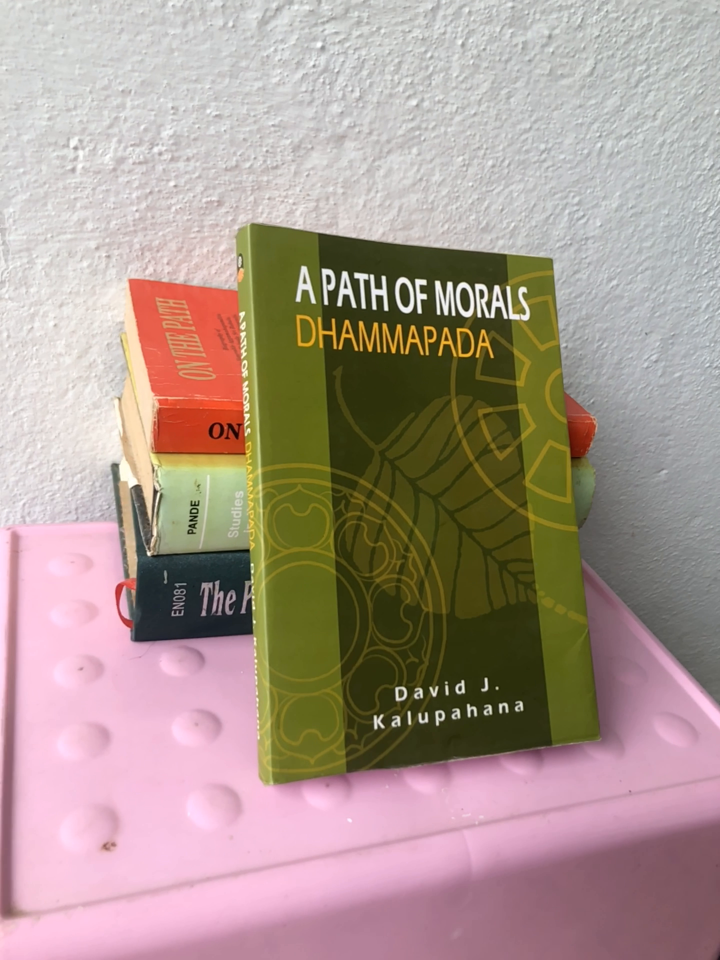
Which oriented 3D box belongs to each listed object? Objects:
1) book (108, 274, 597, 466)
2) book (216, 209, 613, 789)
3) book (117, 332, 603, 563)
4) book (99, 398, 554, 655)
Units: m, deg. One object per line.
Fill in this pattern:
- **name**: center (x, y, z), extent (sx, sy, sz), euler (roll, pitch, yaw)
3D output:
- **book**: center (-0.015, -0.061, 0.410), extent (0.210, 0.030, 0.160), euler (-2, 30, -21)
- **book**: center (0.021, 0.004, 0.333), extent (0.150, 0.210, 0.040), euler (1, -10, -22)
- **book**: center (-0.011, -0.026, 0.416), extent (0.210, 0.040, 0.160), euler (-1, 30, -21)
- **book**: center (-0.031, 0.013, 0.436), extent (0.210, 0.050, 0.161), euler (-1, 30, -19)
